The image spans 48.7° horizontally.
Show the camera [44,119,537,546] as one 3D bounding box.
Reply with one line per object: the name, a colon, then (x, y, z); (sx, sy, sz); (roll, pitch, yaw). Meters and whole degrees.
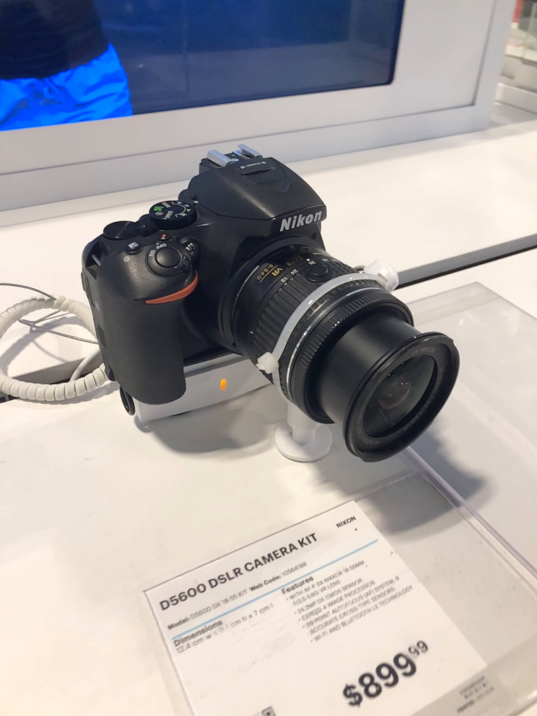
camera: (0.000, -0.030, 0.259); (0.130, 0.089, 0.151); (-22, 42, -27)
